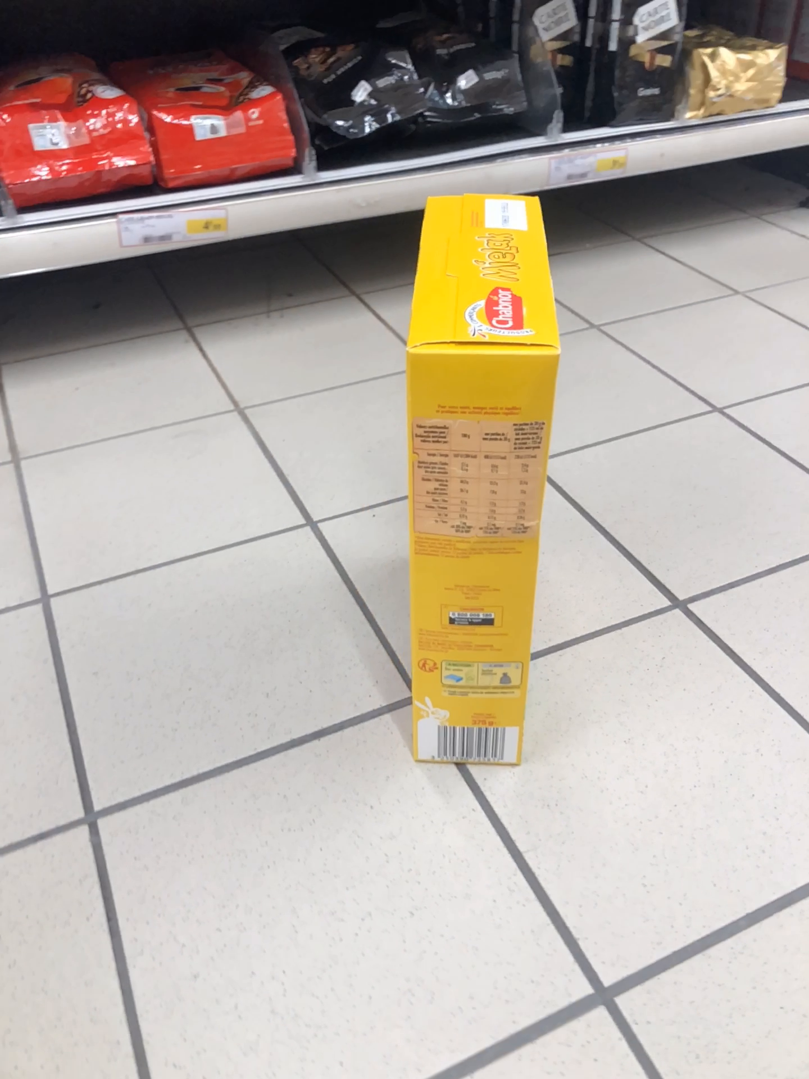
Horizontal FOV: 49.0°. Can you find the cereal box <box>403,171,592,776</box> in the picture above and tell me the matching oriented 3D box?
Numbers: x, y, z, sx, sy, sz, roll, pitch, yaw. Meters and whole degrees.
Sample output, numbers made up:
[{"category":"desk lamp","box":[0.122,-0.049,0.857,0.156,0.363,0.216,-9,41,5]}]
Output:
[{"category":"cereal box","box":[0.042,-0.039,0.491,0.070,0.258,0.211,1,37,3]}]
